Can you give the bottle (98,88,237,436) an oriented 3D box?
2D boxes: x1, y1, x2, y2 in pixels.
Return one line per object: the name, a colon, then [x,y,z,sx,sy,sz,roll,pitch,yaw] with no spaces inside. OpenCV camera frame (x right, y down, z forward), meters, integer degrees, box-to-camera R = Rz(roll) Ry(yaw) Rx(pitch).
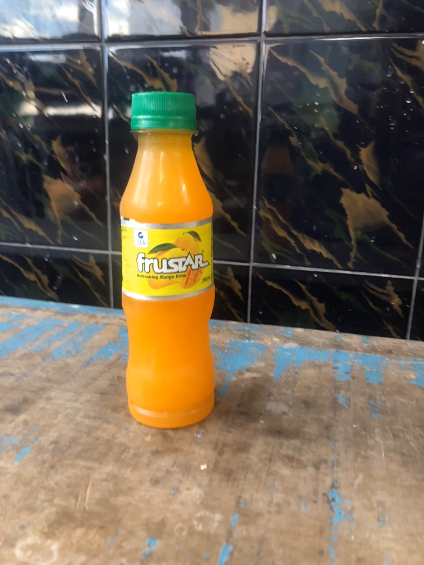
bottle: [-0.024,-0.009,0.252,0.060,0.169,0.050,-2,16,-9]
